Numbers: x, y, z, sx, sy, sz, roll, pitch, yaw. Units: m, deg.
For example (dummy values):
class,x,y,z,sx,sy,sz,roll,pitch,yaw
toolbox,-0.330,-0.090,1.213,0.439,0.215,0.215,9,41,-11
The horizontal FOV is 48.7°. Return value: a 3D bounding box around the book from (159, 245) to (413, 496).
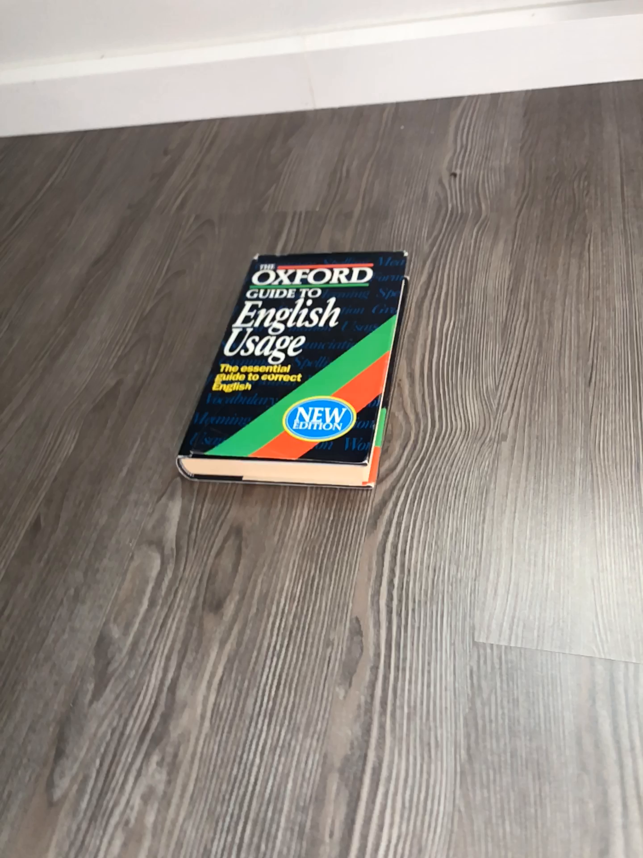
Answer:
class,x,y,z,sx,sy,sz,roll,pitch,yaw
book,-0.017,-0.057,0.563,0.150,0.035,0.231,2,51,15
